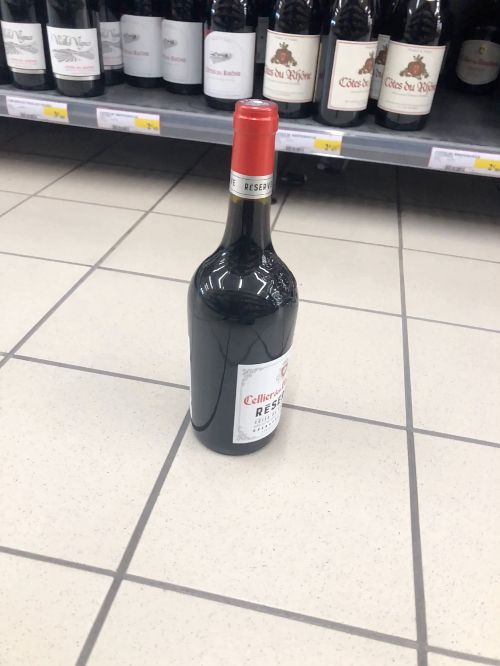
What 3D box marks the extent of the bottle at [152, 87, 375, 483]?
[{"bbox_3d":[0.003,-0.033,0.429,0.100,0.268,0.111,24,38,27],"label":"bottle"}]
